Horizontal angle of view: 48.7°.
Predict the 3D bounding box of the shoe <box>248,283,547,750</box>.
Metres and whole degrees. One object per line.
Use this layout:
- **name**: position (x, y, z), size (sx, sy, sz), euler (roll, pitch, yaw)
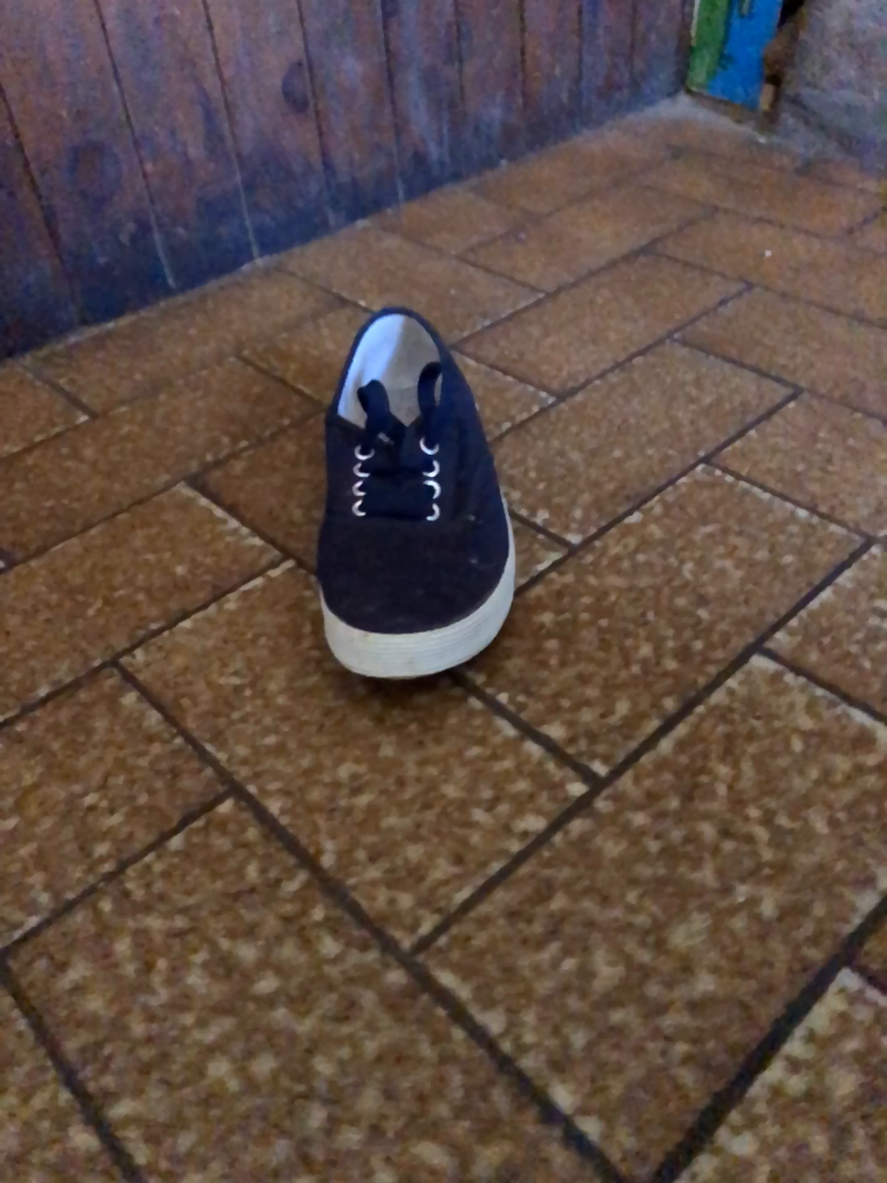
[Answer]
- **shoe**: position (-0.022, -0.050, 0.441), size (0.100, 0.070, 0.241), euler (-6, 41, -1)
